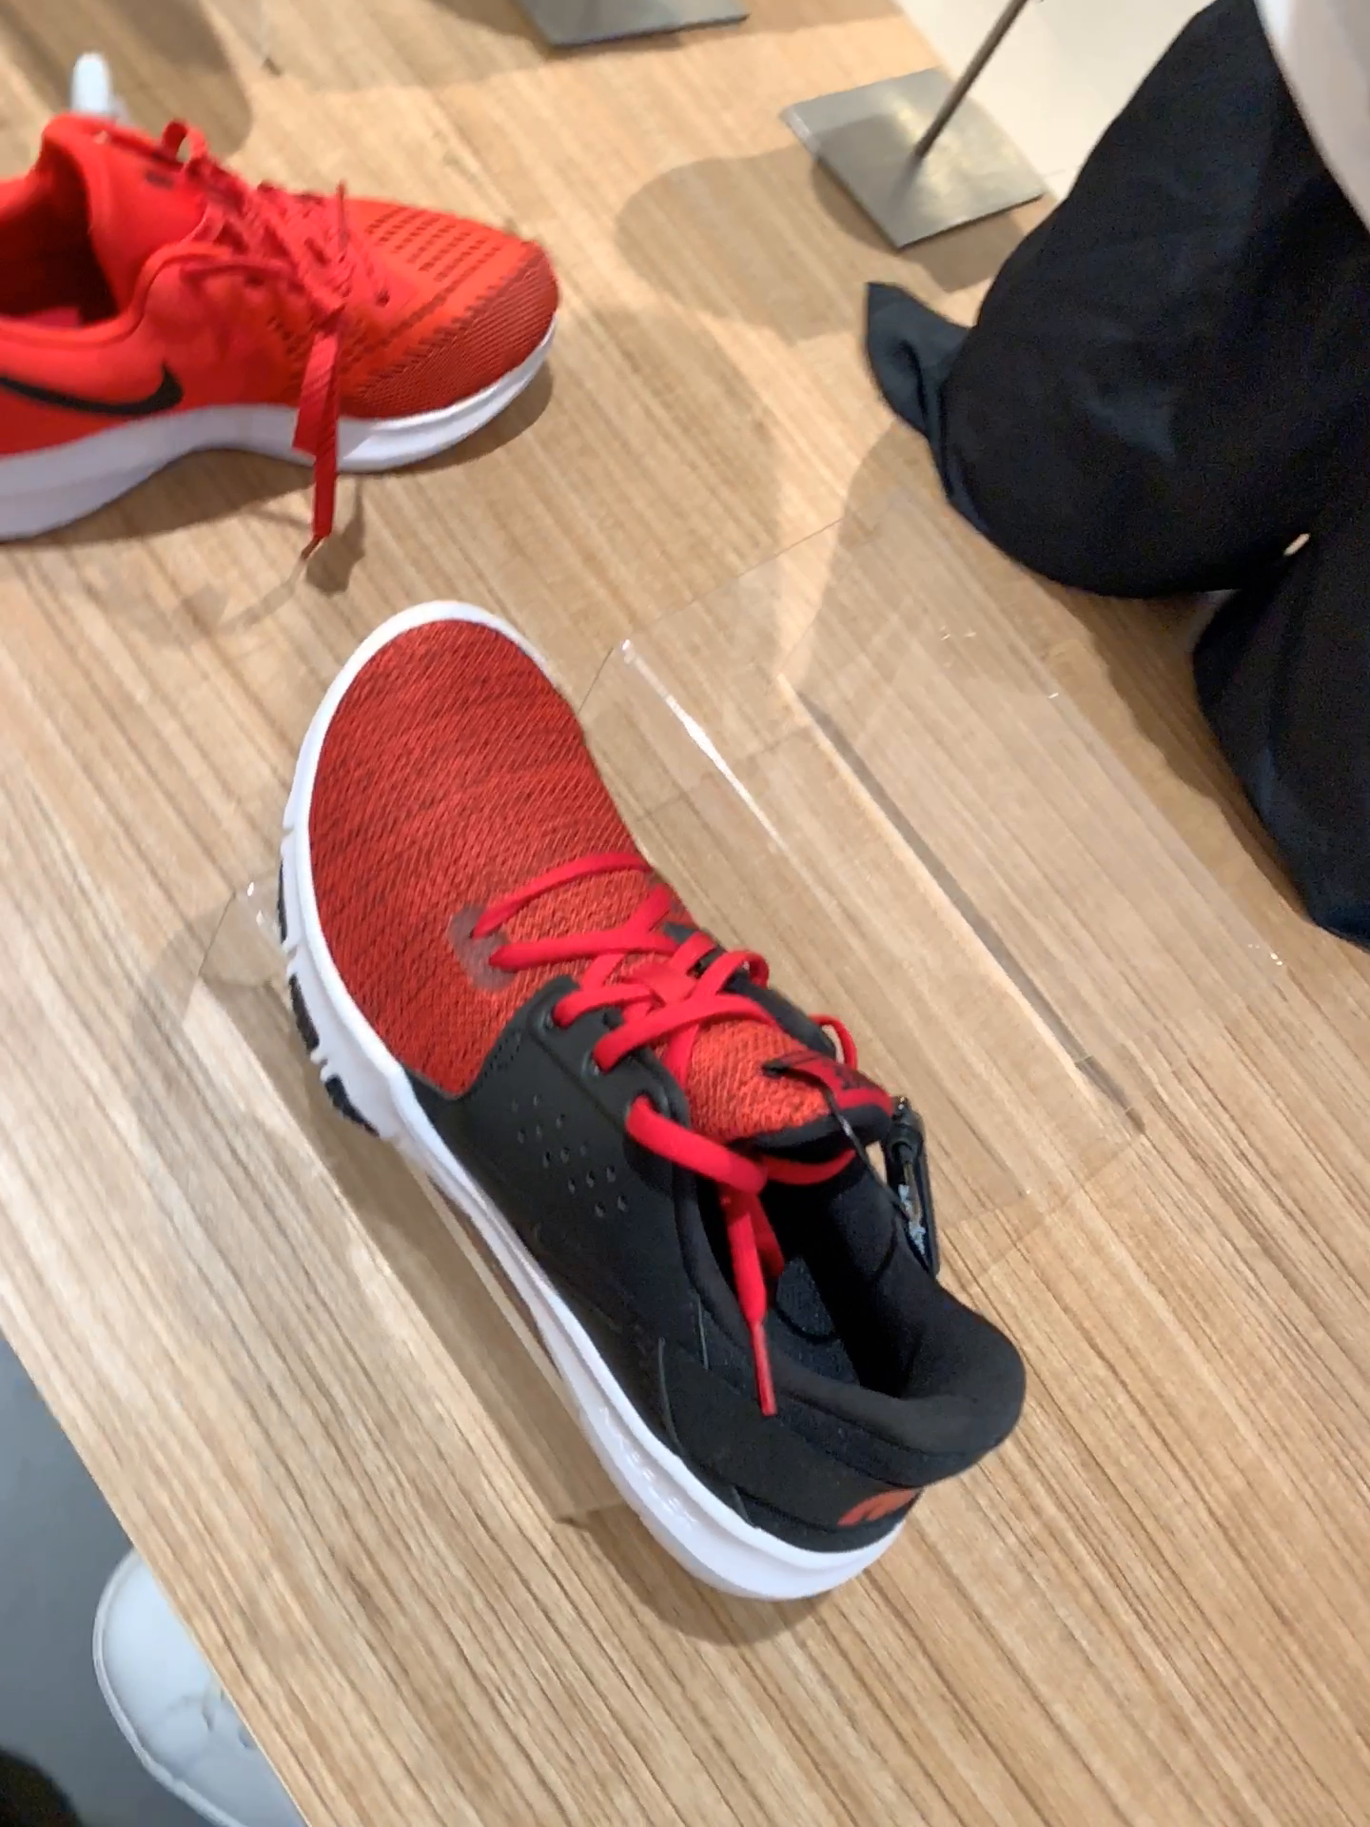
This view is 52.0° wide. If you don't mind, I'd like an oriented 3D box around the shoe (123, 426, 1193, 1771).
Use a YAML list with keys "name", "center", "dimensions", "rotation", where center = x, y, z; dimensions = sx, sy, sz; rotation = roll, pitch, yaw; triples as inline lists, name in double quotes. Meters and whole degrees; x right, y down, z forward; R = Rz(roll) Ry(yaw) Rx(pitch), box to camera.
- name: "shoe"
  center: [-0.018, 0.032, 0.347]
  dimensions: [0.110, 0.080, 0.290]
  rotation: [-26, 79, -31]
